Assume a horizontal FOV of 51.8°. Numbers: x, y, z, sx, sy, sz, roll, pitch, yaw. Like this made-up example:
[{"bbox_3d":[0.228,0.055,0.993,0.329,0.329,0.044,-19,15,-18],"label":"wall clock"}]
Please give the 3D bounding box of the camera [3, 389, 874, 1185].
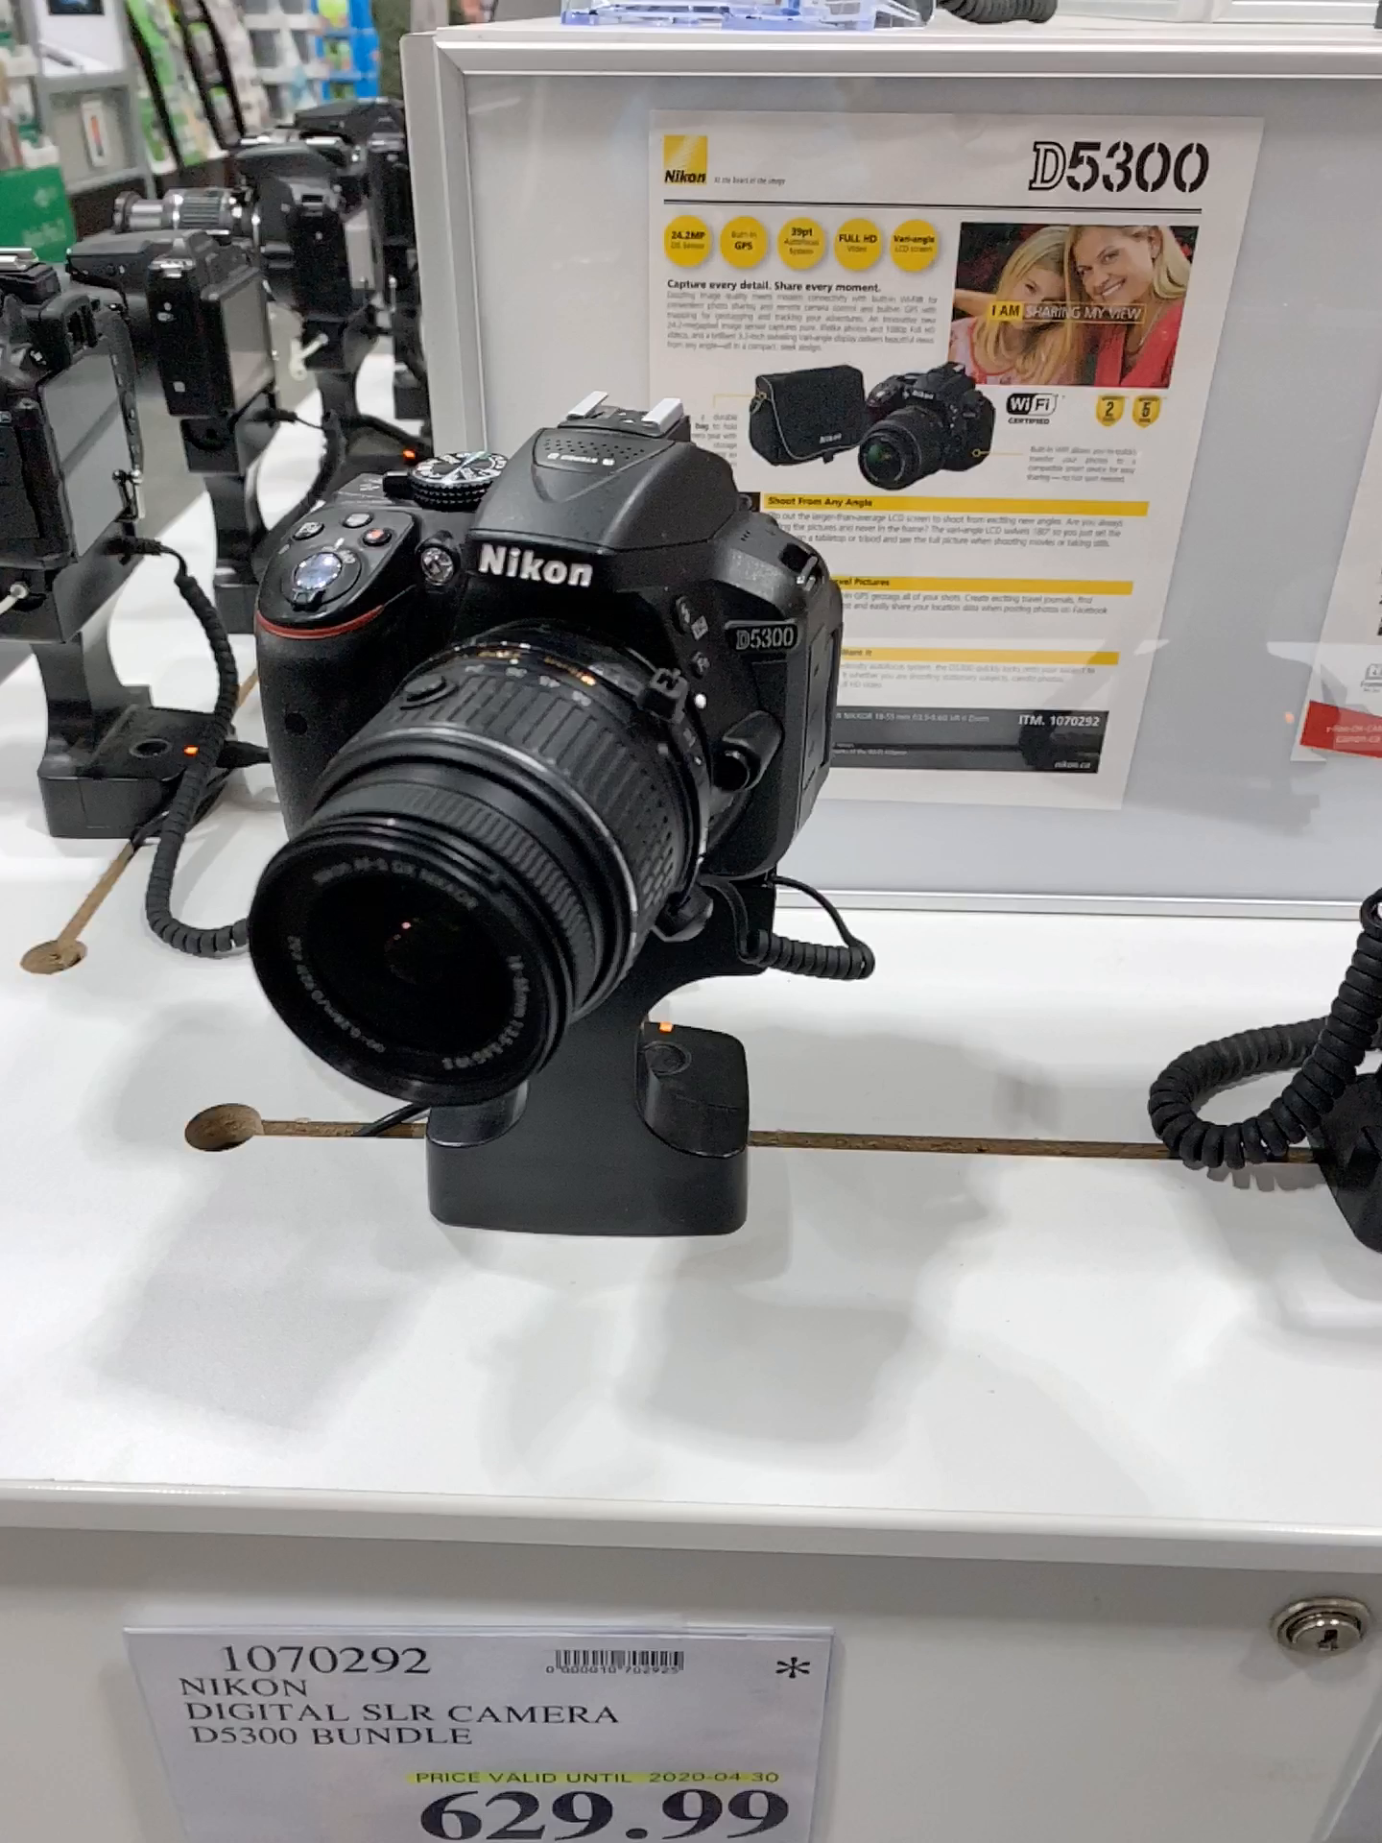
[{"bbox_3d":[-0.034,-0.042,0.302,0.120,0.099,0.151,7,33,11],"label":"camera"}]
